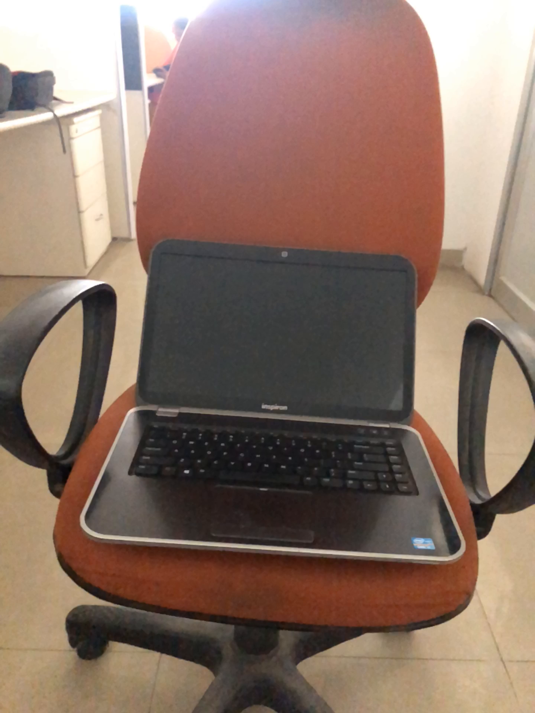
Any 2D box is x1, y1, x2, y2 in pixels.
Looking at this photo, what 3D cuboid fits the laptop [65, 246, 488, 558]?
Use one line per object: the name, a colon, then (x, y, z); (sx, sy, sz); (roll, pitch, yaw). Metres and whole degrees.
laptop: (0.008, 0.019, 0.685); (0.352, 0.173, 0.353); (3, 28, 2)
